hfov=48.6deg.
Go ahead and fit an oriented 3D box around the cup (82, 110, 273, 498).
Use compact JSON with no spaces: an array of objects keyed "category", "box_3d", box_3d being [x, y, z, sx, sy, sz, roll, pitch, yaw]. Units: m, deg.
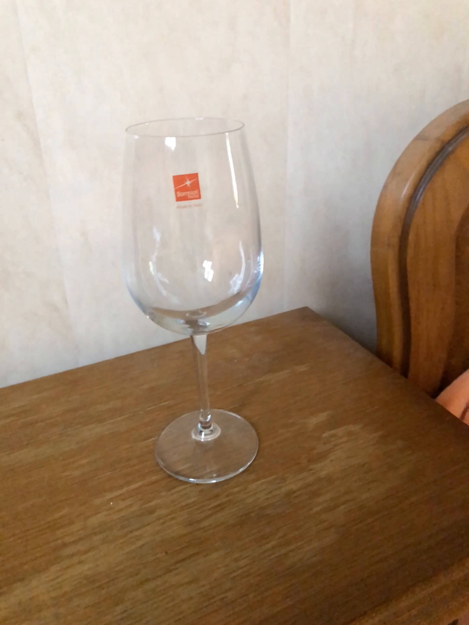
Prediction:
[{"category":"cup","box_3d":[-0.027,-0.005,0.341,0.090,0.229,0.101,-3,26,-3]}]
